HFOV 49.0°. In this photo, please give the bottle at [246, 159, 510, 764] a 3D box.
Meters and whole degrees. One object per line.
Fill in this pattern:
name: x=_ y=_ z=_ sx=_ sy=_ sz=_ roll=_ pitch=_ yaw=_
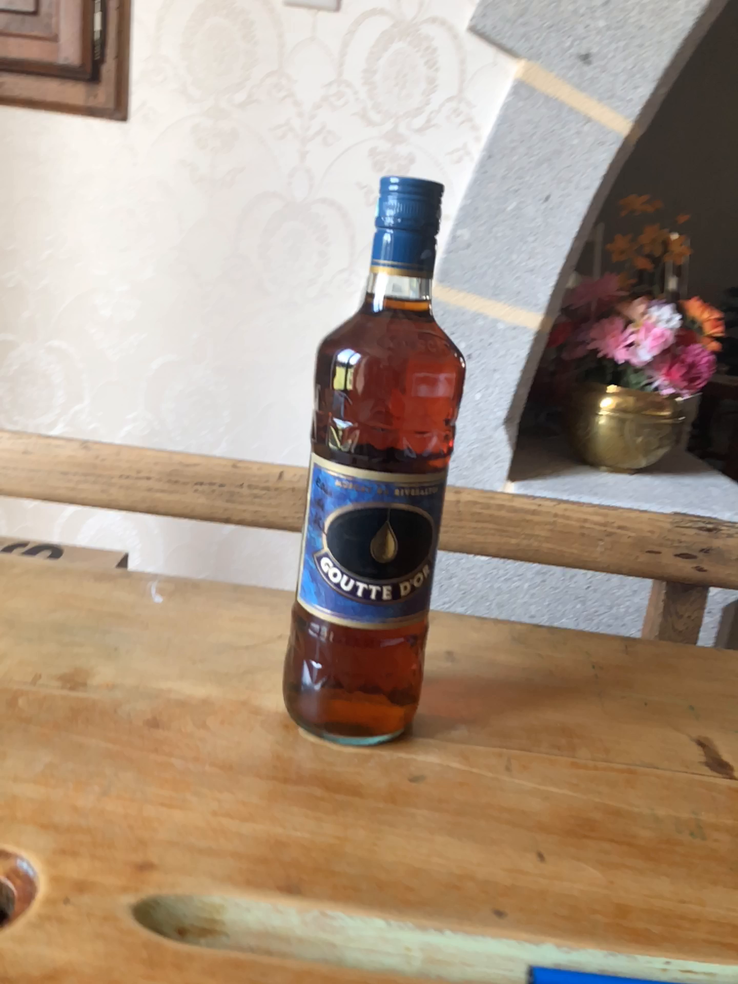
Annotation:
bottle: x=0.000 y=-0.014 z=0.424 sx=0.090 sy=0.279 sz=0.100 roll=7 pitch=15 yaw=0
